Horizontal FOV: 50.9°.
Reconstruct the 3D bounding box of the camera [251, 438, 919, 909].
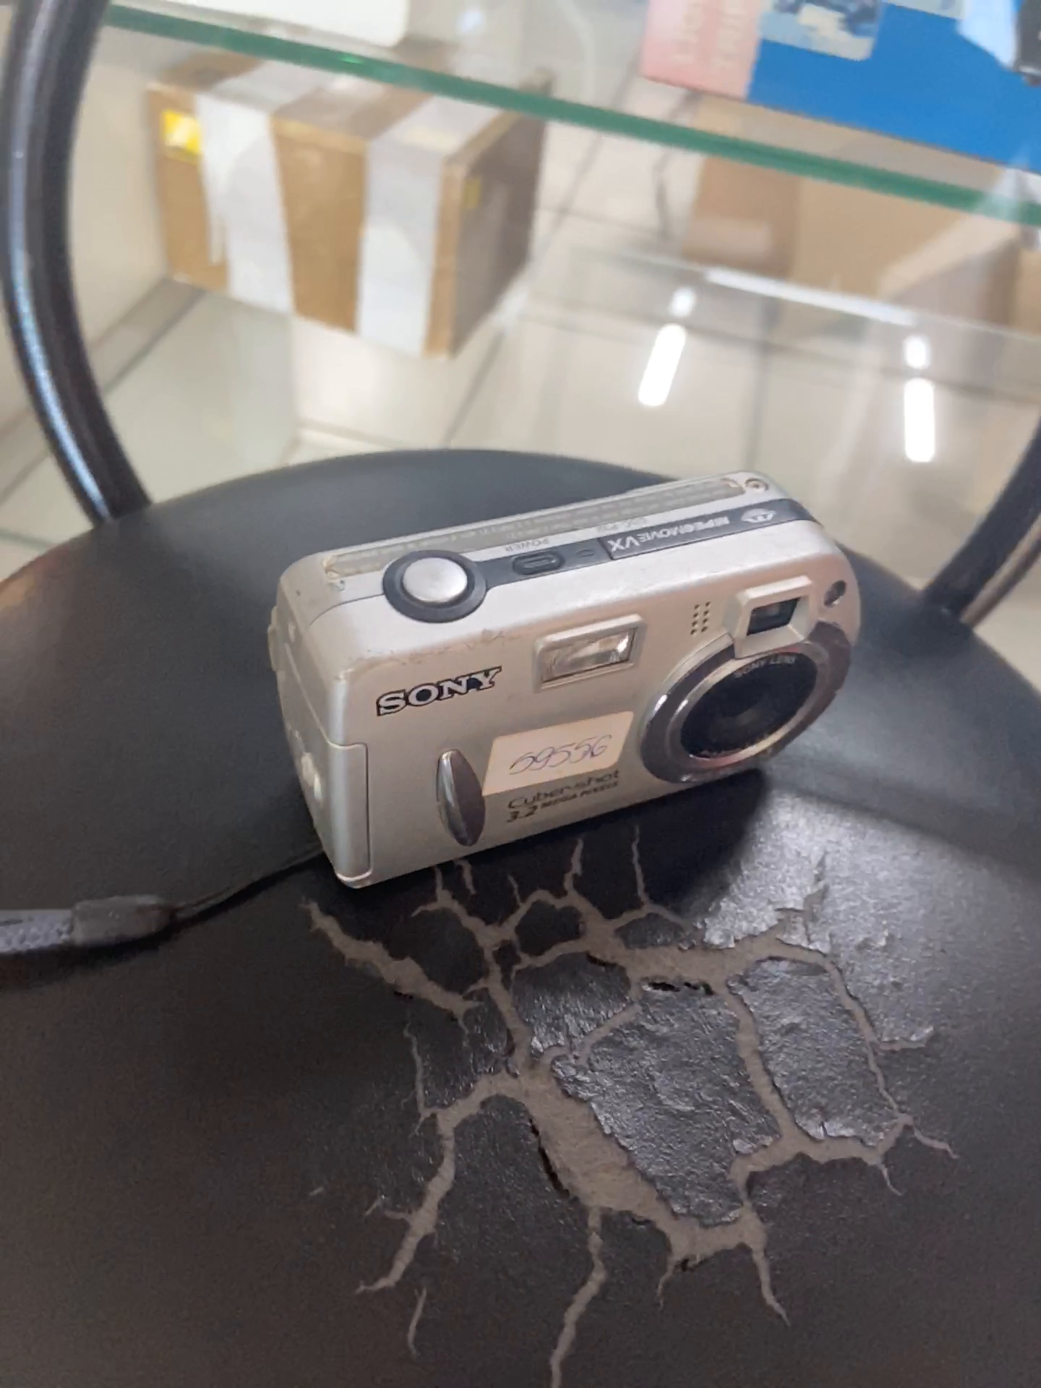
[{"bbox_3d":[0.009,-0.006,0.192,0.100,0.050,0.040,-13,50,-19],"label":"camera"}]
